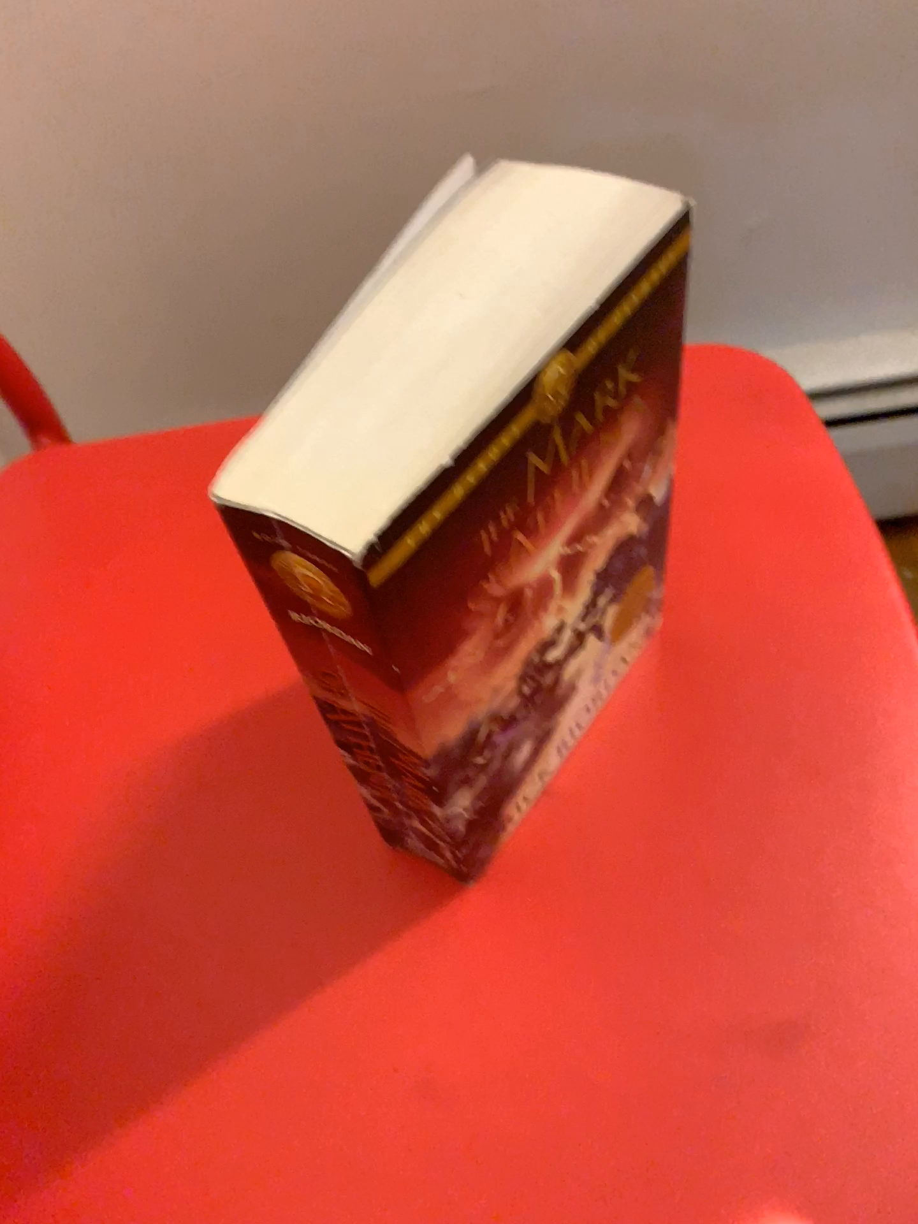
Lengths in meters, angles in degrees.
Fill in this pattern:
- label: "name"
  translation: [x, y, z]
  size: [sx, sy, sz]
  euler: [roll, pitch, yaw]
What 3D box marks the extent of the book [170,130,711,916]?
- label: "book"
  translation: [0.012, -0.013, 0.294]
  size: [0.061, 0.193, 0.140]
  euler: [22, 61, 21]
